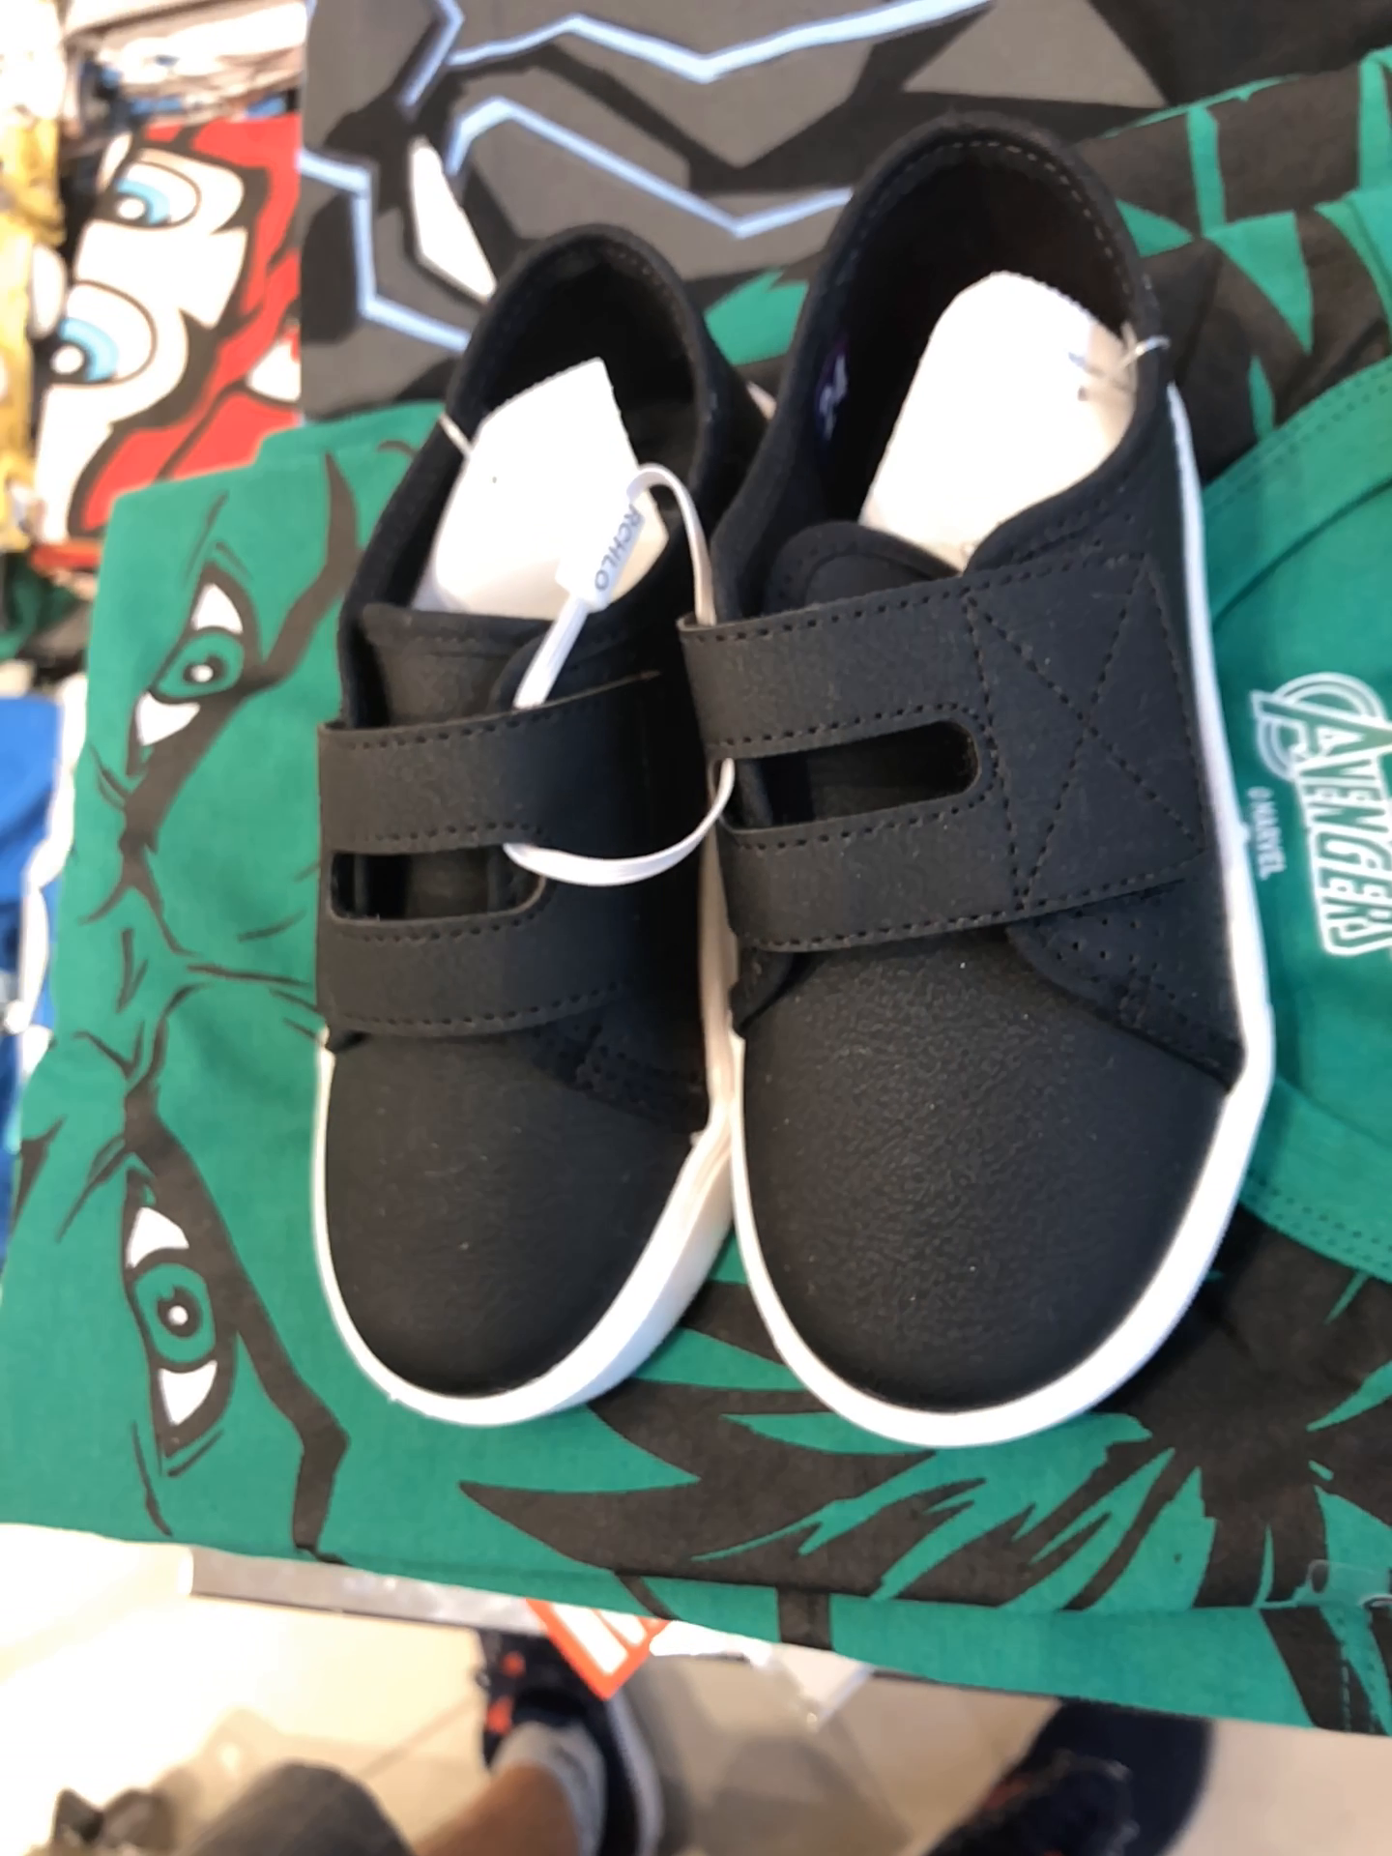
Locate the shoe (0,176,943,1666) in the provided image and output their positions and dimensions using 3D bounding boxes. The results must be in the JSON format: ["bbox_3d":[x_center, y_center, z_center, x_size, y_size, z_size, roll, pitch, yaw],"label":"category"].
[{"bbox_3d":[-0.021,-0.003,0.229,0.080,0.090,0.170,7,81,16],"label":"shoe"}]

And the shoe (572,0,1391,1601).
[{"bbox_3d":[0.047,-0.015,0.212,0.090,0.090,0.170,0,79,15],"label":"shoe"}]
